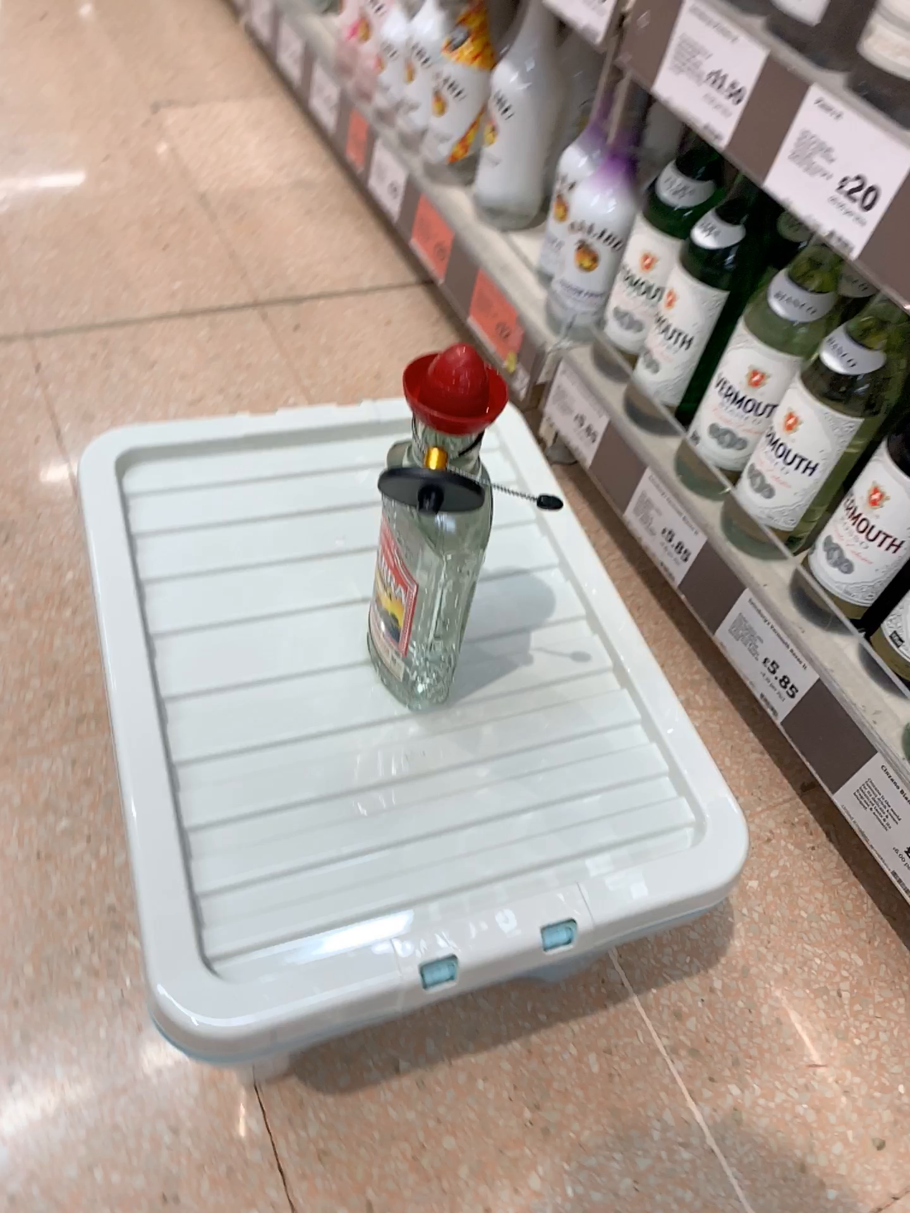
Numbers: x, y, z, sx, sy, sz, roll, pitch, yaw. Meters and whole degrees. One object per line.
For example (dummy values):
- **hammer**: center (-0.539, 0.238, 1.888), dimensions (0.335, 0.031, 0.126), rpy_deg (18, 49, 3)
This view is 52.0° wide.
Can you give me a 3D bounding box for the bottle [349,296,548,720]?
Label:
- **bottle**: center (-0.016, -0.046, 0.547), dimensions (0.058, 0.240, 0.104), rpy_deg (-8, 53, -17)
